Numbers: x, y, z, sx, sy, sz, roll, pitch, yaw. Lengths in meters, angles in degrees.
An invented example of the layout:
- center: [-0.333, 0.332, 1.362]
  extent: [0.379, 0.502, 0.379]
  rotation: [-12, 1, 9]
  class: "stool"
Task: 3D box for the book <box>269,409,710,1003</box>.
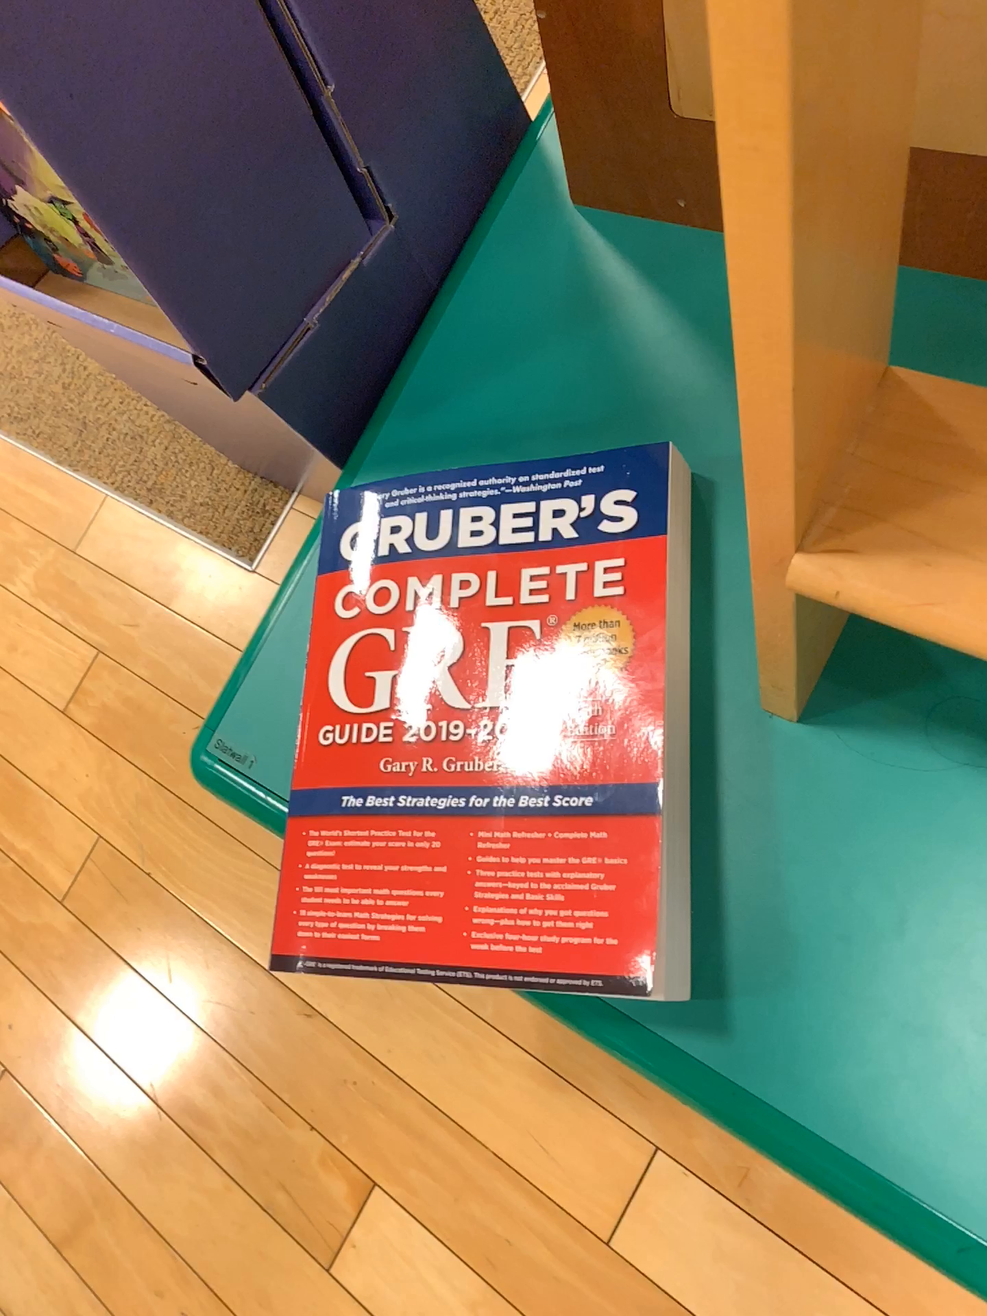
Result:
- center: [0.001, 0.023, 0.539]
  extent: [0.221, 0.040, 0.290]
  rotation: [-4, 72, 23]
  class: "book"
